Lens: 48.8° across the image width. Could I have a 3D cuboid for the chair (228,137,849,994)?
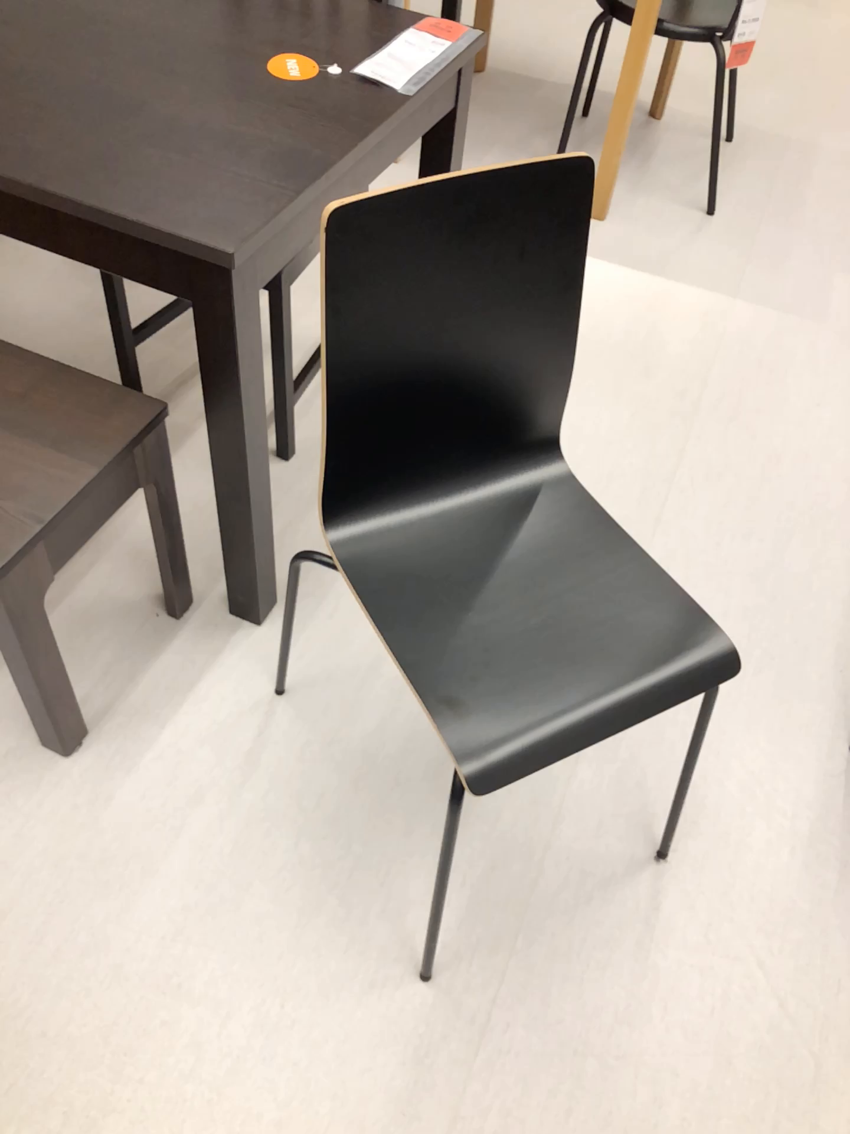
[{"bbox_3d":[0.100,0.034,1.126,0.451,0.805,0.532,-19,54,-21],"label":"chair"}]
